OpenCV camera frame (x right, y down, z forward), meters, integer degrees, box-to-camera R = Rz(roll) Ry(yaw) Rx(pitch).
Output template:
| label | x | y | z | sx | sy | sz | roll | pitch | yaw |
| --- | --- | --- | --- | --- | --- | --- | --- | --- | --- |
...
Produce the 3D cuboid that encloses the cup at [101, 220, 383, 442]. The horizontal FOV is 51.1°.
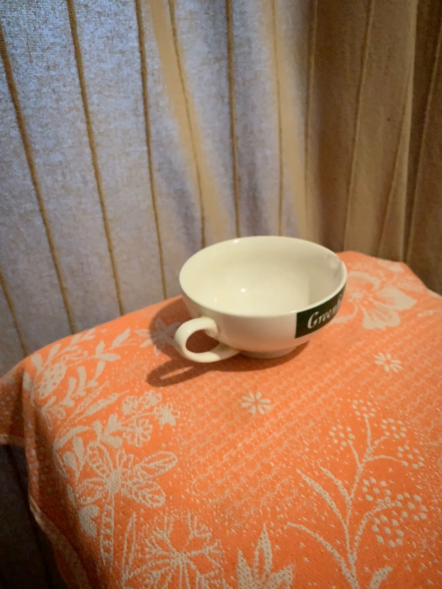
| label | x | y | z | sx | sy | sz | roll | pitch | yaw |
| --- | --- | --- | --- | --- | --- | --- | --- | --- | --- |
| cup | 0.016 | 0.008 | 0.302 | 0.114 | 0.056 | 0.137 | 23 | 37 | 38 |
